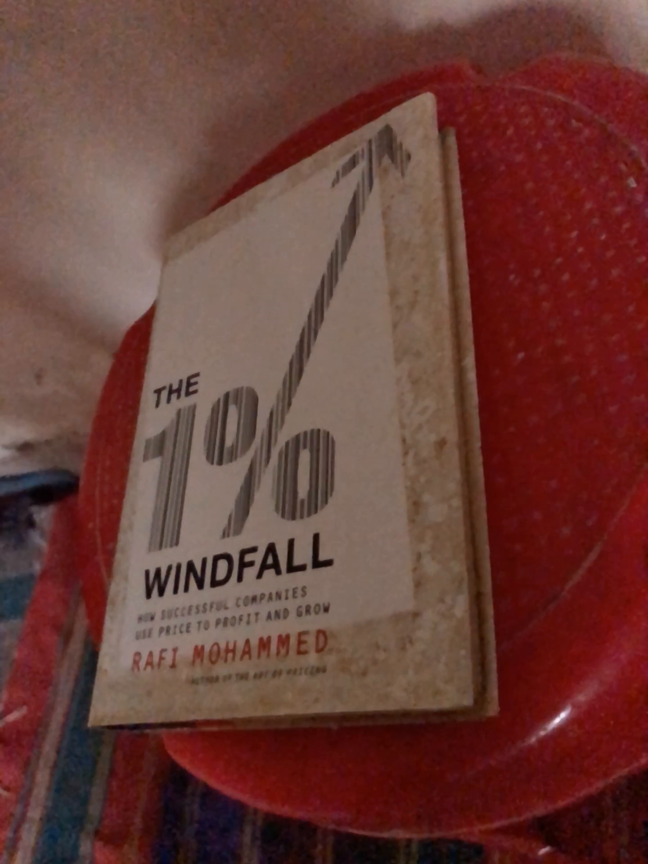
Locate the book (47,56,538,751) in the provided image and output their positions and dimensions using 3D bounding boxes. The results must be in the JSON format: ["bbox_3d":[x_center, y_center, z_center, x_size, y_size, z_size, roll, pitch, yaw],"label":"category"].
[{"bbox_3d":[-0.019,-0.011,0.307,0.181,0.040,0.260,-18,57,33],"label":"book"}]
